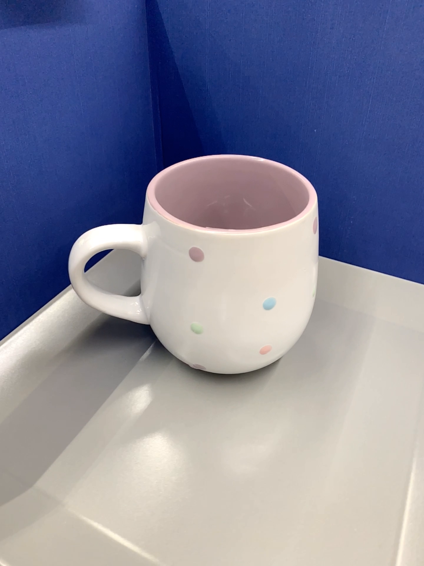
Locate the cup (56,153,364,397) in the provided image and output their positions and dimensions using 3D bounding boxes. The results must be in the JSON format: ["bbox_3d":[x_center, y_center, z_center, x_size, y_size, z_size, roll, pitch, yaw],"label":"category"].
[{"bbox_3d":[-0.006,-0.011,0.248,0.130,0.088,0.097,-5,36,-8],"label":"cup"}]
